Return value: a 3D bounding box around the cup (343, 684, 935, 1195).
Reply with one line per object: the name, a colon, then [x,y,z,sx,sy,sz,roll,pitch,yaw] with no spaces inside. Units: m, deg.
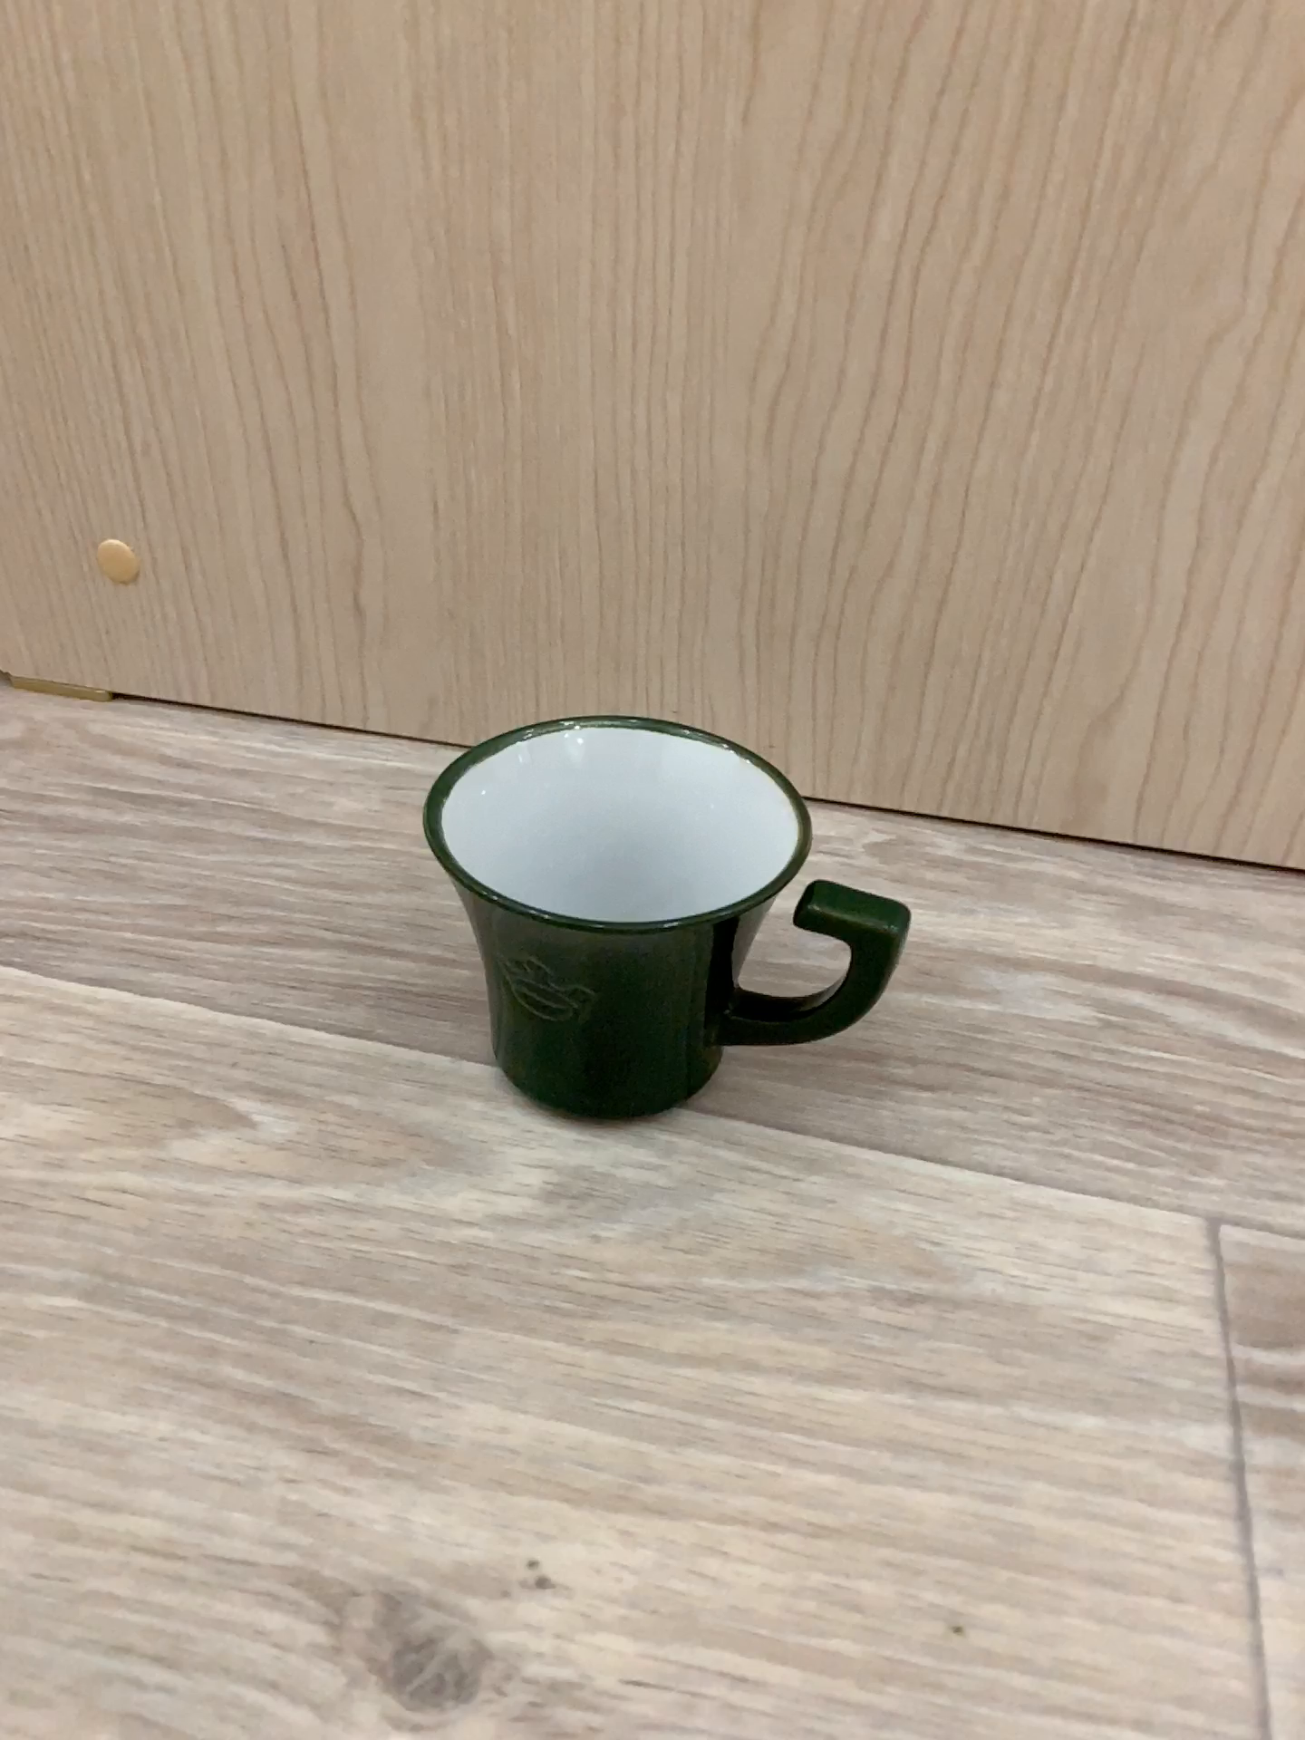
cup: [0.000,0.011,0.298,0.106,0.061,0.075,11,36,12]
